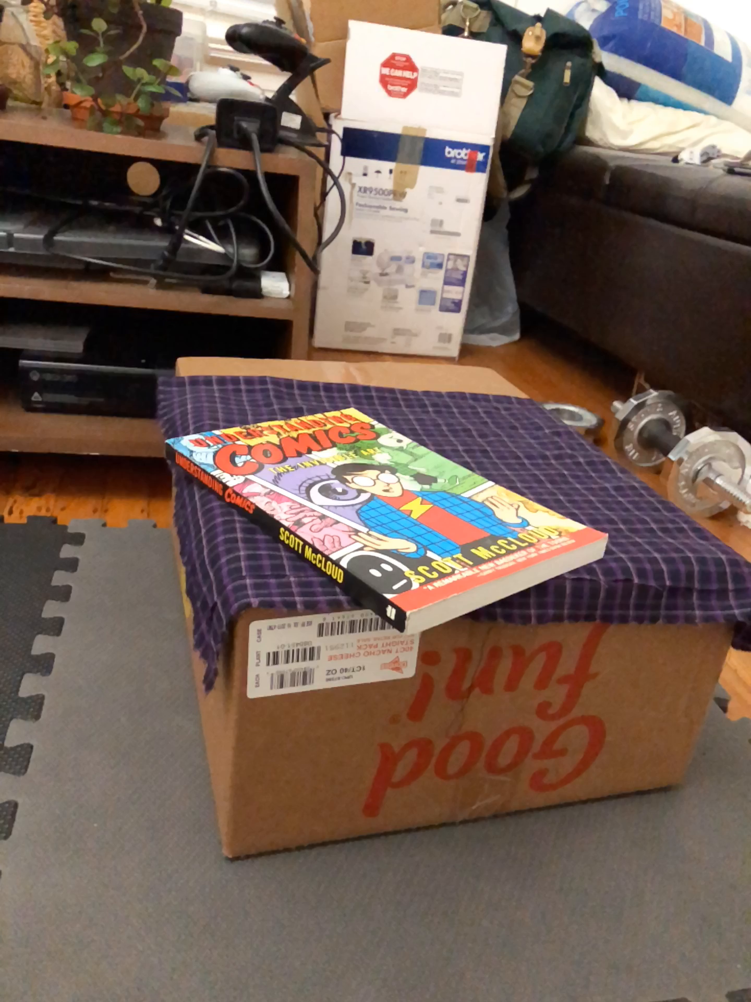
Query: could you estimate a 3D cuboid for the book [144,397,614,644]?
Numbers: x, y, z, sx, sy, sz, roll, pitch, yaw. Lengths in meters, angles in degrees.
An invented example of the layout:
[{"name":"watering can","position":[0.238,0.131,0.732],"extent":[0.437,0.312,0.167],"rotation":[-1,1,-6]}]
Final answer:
[{"name":"book","position":[-0.009,-0.008,0.538],"extent":[0.171,0.020,0.271],"rotation":[-15,32,-39]}]
